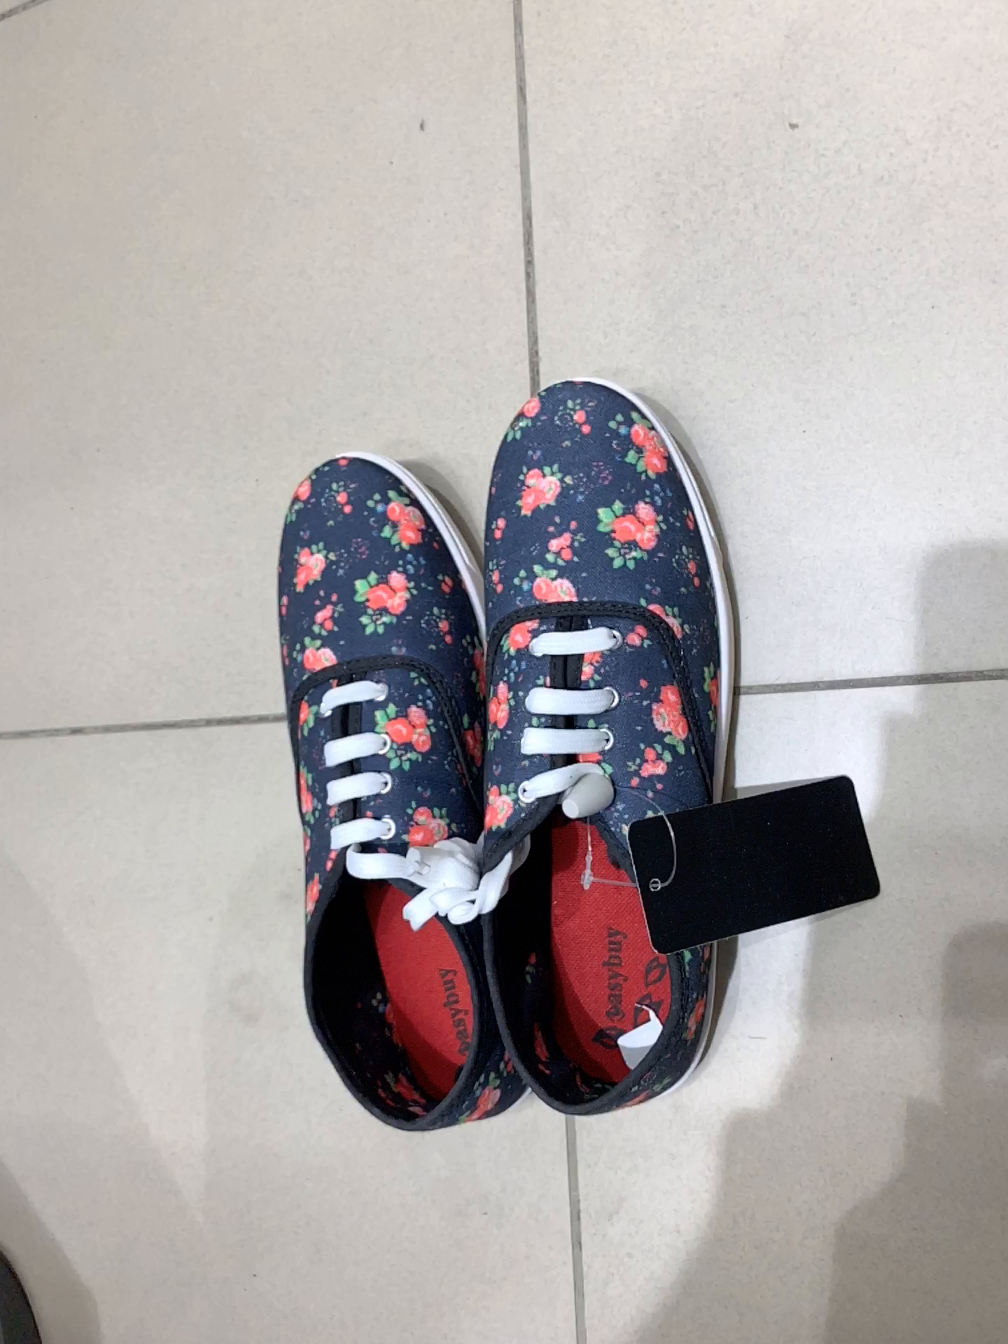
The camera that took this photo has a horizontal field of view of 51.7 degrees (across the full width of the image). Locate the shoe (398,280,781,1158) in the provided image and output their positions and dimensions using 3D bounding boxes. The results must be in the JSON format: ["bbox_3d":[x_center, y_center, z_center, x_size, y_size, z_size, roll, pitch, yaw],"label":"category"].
[{"bbox_3d":[0.032,0.016,0.376,0.100,0.080,0.270,-5,85,23],"label":"shoe"}]

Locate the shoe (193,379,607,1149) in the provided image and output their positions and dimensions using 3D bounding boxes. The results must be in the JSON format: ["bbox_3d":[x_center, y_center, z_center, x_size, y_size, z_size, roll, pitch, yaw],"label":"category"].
[{"bbox_3d":[-0.042,0.037,0.421,0.100,0.080,0.270,-13,82,22],"label":"shoe"}]
